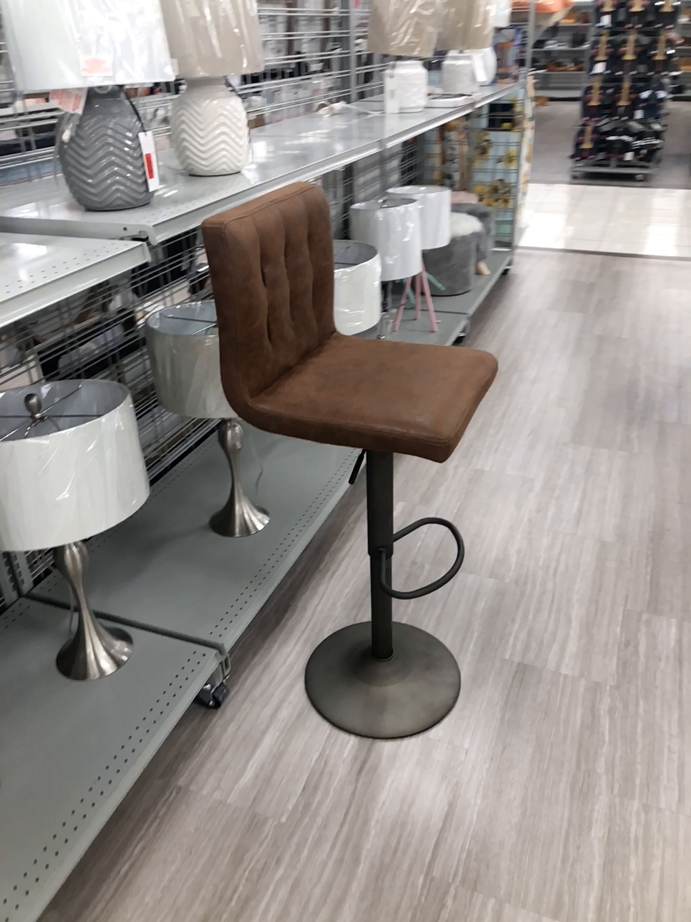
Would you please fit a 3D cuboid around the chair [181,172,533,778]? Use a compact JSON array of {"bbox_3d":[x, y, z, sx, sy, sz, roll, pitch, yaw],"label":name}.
[{"bbox_3d":[0.063,0.029,1.566,0.468,1.102,0.476,9,31,19],"label":"chair"}]
